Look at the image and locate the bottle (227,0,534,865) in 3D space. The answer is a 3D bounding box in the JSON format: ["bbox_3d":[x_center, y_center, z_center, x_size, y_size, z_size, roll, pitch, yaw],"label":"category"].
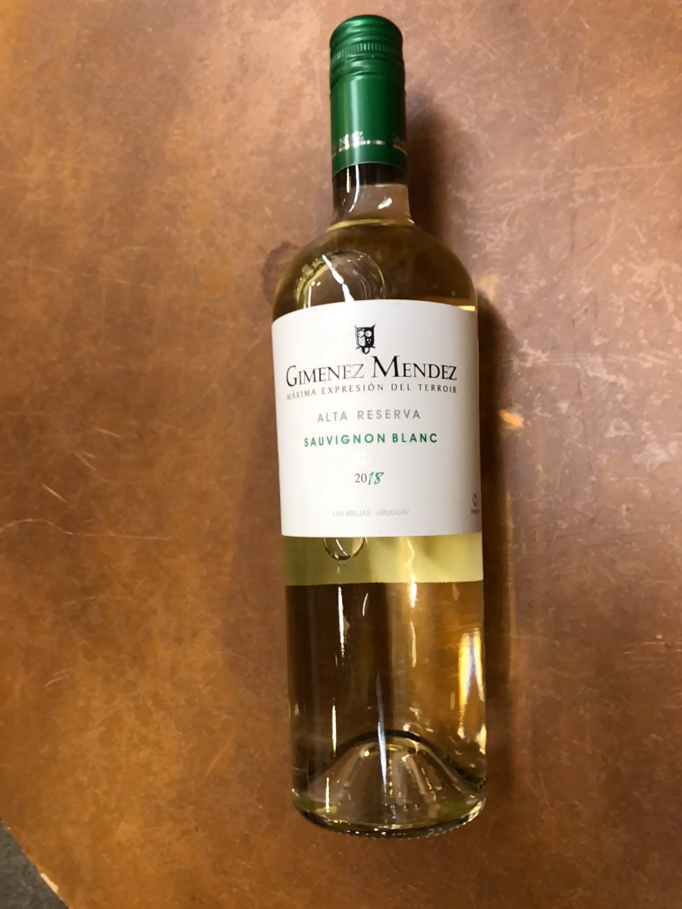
[{"bbox_3d":[0.013,-0.024,0.278,0.090,0.050,0.300,-4,84,24],"label":"bottle"}]
